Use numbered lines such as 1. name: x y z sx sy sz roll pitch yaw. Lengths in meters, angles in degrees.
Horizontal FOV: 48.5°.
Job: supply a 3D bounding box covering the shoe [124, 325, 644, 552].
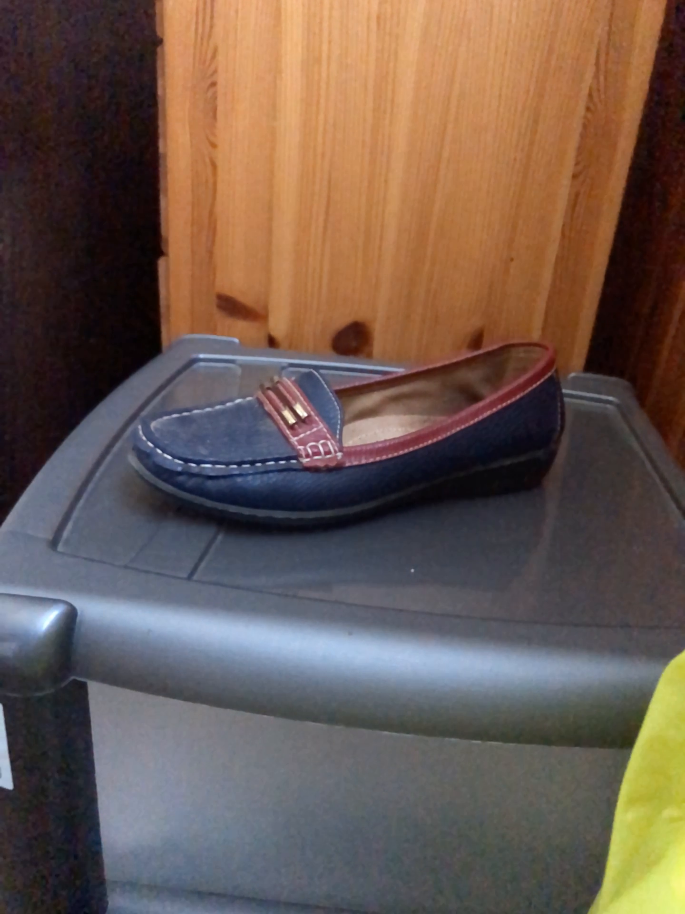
1. shoe: 0.020 -0.021 0.420 0.261 0.070 0.100 -5 29 -20
